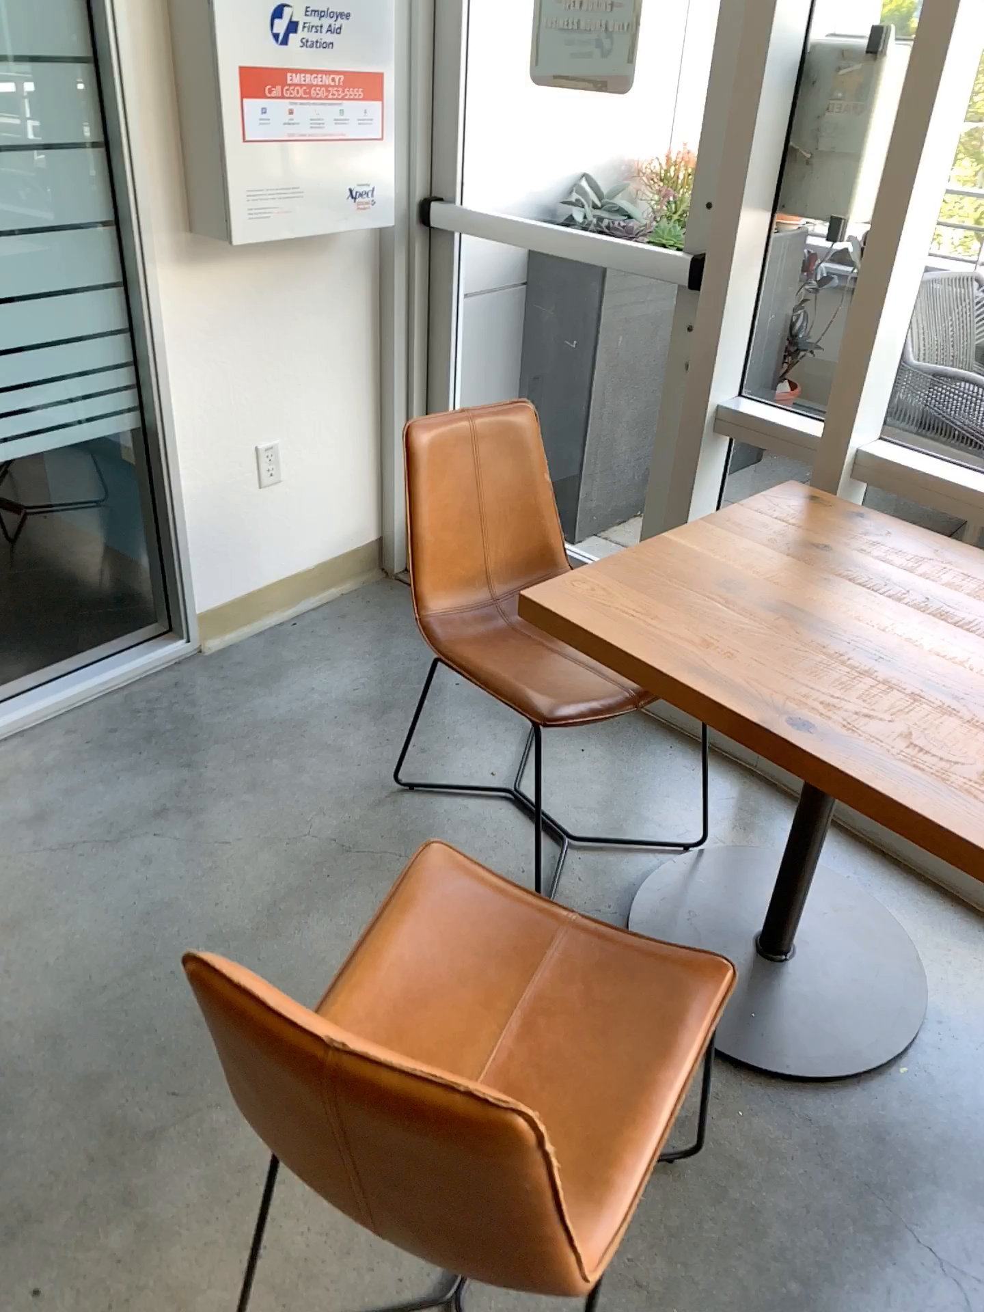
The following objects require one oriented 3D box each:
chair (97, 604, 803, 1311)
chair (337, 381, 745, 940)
[{"bbox_3d":[-0.013,0.495,1.233,0.491,0.864,0.543,18,39,21],"label":"chair"},{"bbox_3d":[0.071,-0.023,2.005,0.491,0.865,0.552,-20,35,-33],"label":"chair"}]
